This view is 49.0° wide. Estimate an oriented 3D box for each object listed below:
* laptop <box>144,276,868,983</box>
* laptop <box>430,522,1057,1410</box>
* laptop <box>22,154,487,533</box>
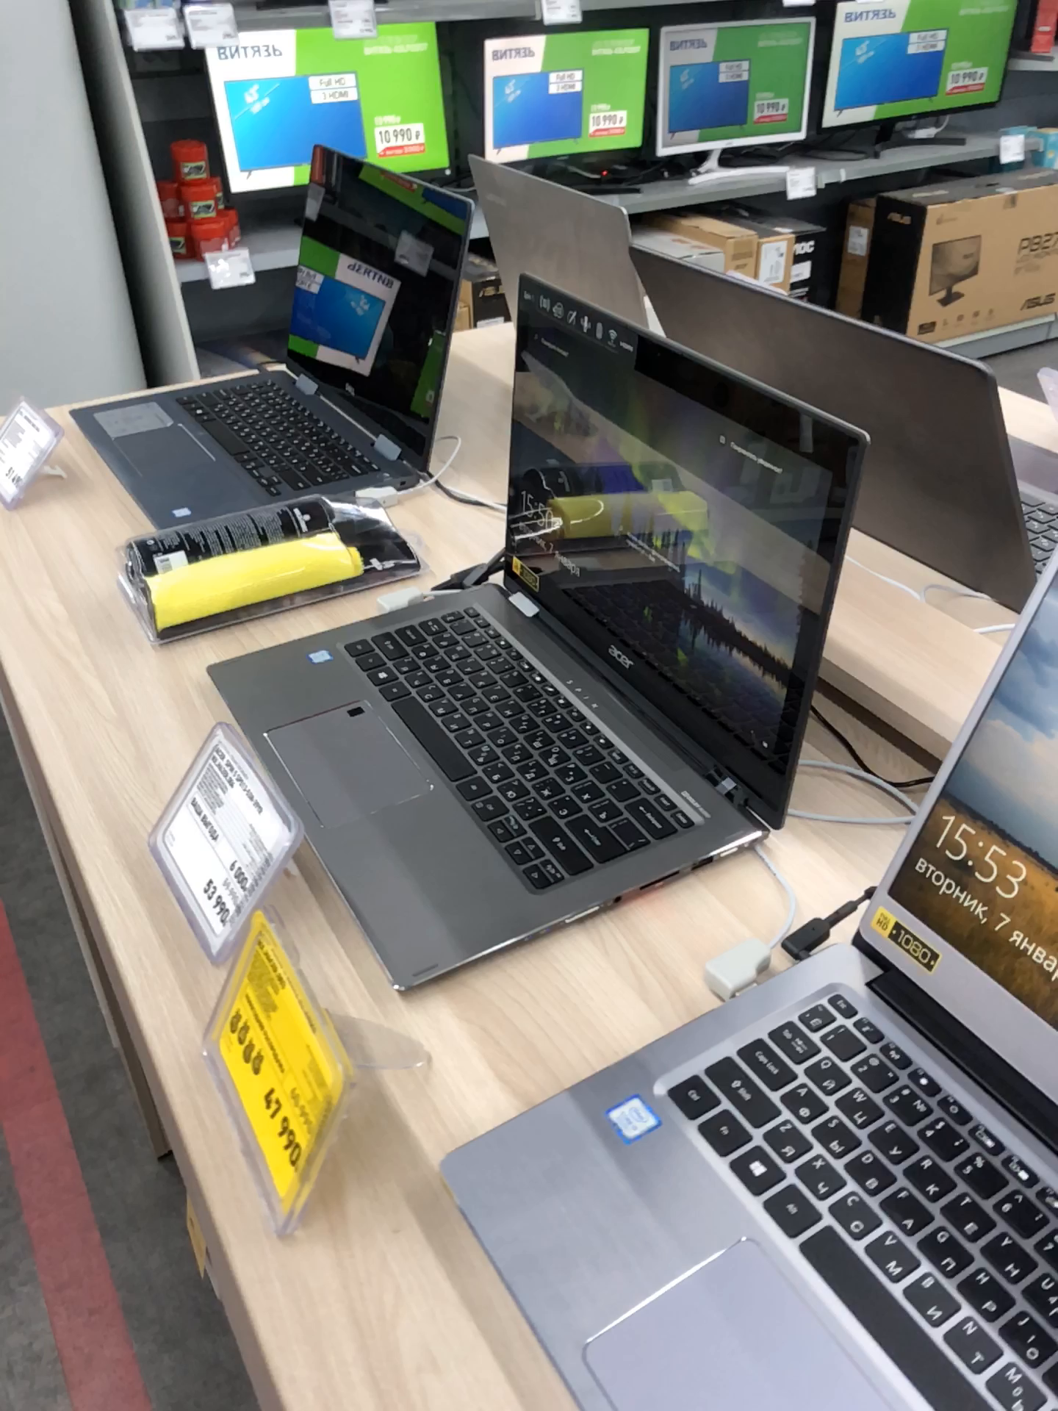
[{"bbox_3d":[-0.031,-0.073,0.643,0.245,0.215,0.316,-18,38,-23],"label":"laptop"},{"bbox_3d":[0.160,0.115,0.365,0.298,0.196,0.271,-19,36,-25],"label":"laptop"},{"bbox_3d":[-0.251,-0.348,1.053,0.288,0.215,0.341,-19,37,-23],"label":"laptop"}]
